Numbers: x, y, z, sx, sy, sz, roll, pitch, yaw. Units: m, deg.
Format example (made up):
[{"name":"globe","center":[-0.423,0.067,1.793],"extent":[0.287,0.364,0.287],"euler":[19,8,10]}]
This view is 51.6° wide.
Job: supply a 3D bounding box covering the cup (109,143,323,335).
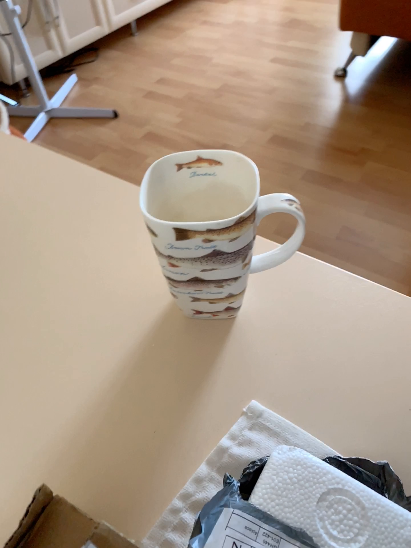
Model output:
[{"name":"cup","center":[0.012,-0.024,0.350],"extent":[0.138,0.122,0.092],"euler":[-2,49,4]}]
